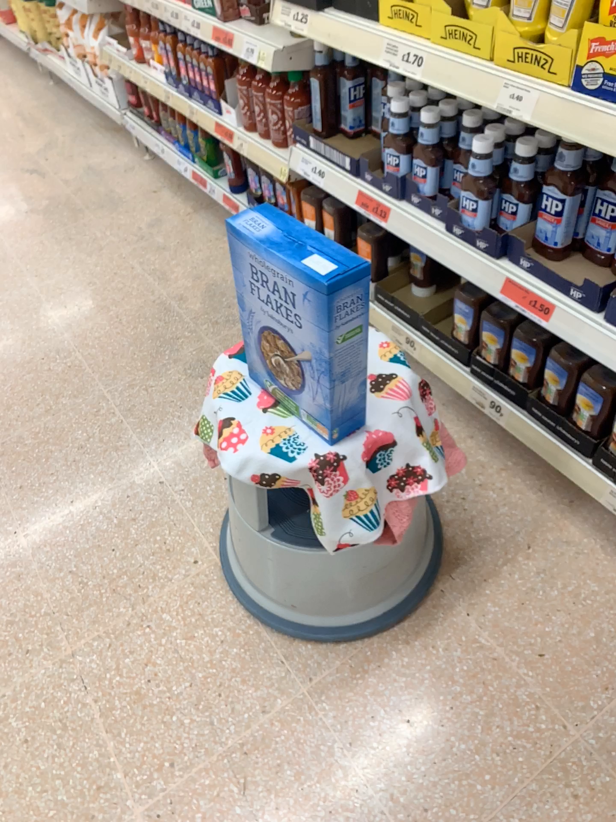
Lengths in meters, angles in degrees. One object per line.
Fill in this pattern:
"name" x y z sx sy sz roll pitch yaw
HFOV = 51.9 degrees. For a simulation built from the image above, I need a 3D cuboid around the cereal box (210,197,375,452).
"cereal box" -0.016 -0.112 0.831 0.080 0.258 0.211 -32 51 -25
